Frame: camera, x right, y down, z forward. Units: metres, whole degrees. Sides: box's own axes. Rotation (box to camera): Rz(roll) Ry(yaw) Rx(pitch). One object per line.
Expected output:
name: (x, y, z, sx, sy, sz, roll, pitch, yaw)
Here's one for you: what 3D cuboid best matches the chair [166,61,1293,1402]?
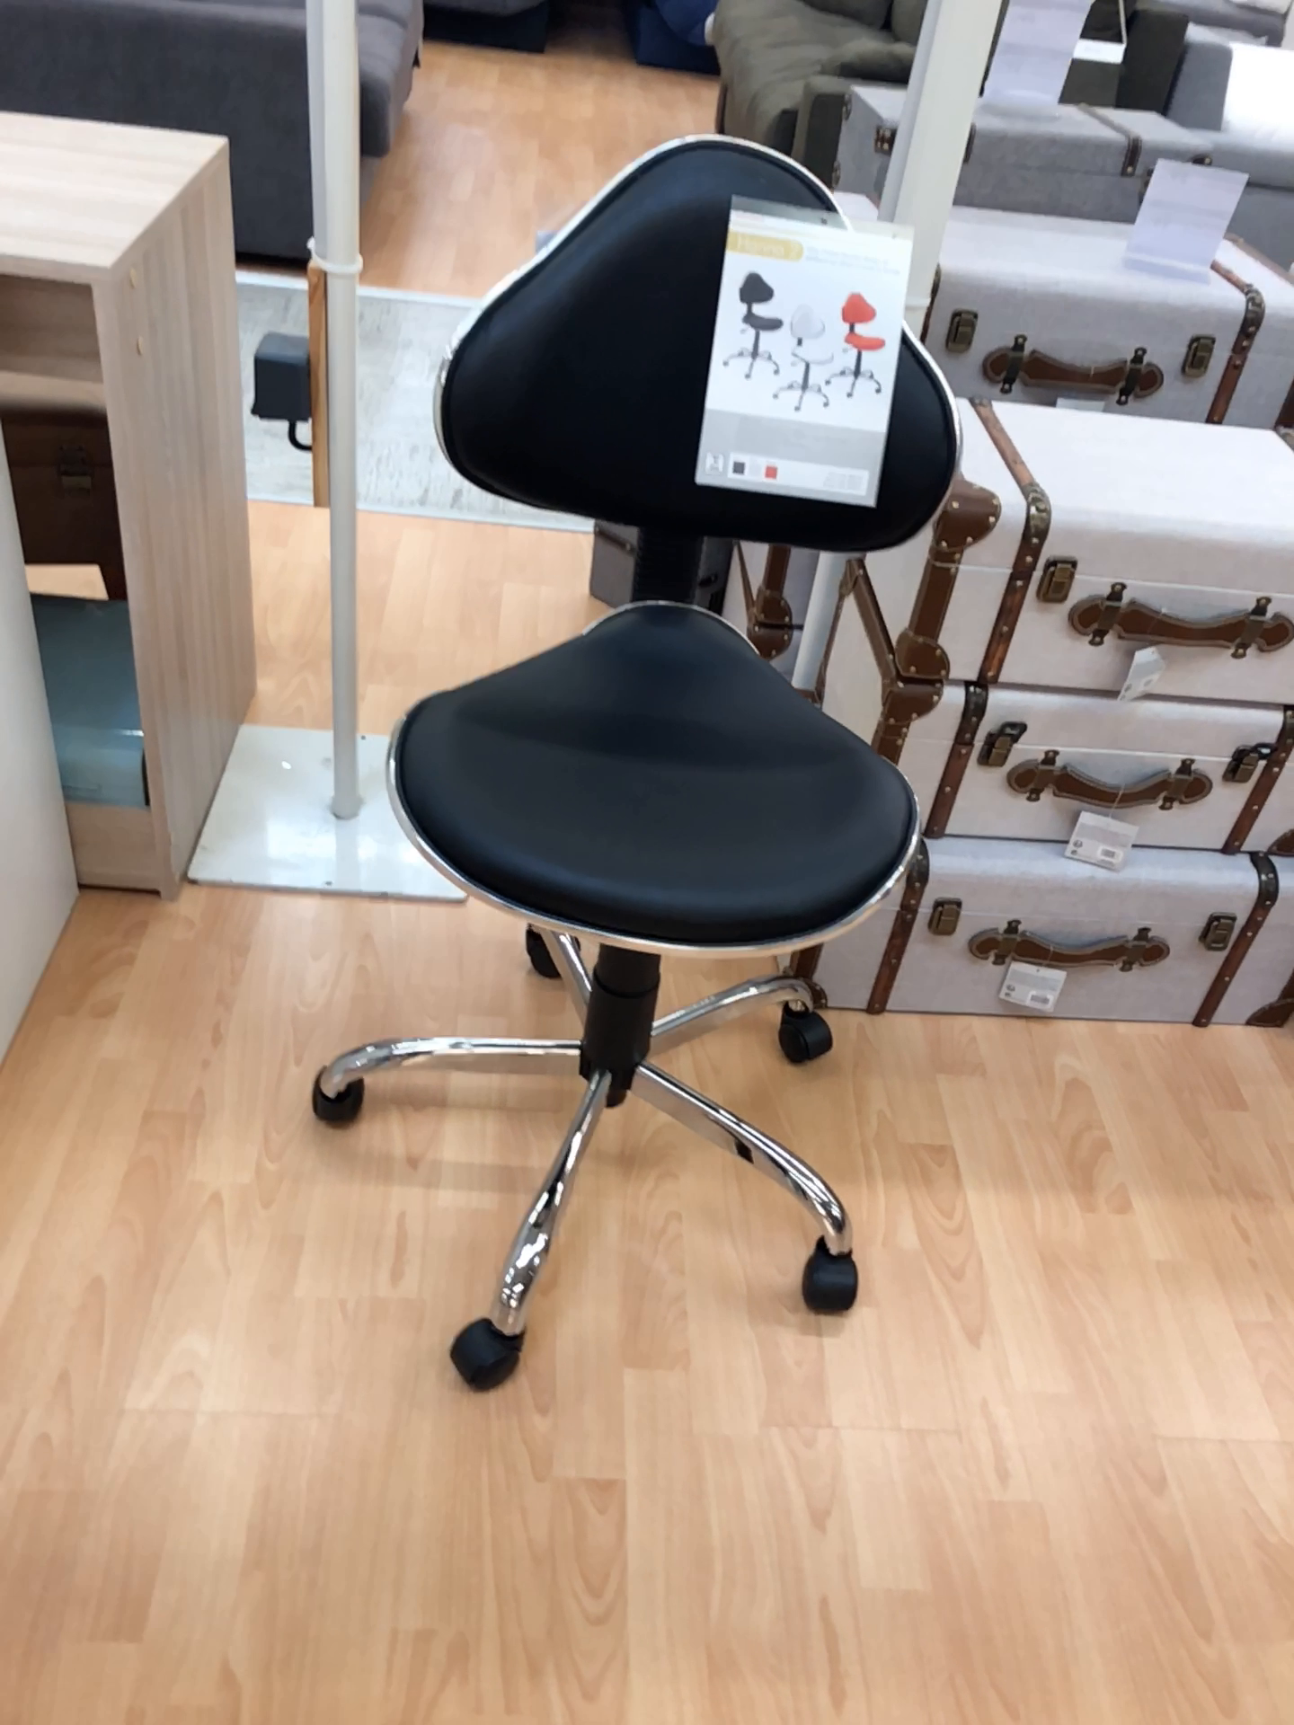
chair: (0.003, -0.081, 1.164, 0.601, 0.854, 0.613, 2, 39, -9)
